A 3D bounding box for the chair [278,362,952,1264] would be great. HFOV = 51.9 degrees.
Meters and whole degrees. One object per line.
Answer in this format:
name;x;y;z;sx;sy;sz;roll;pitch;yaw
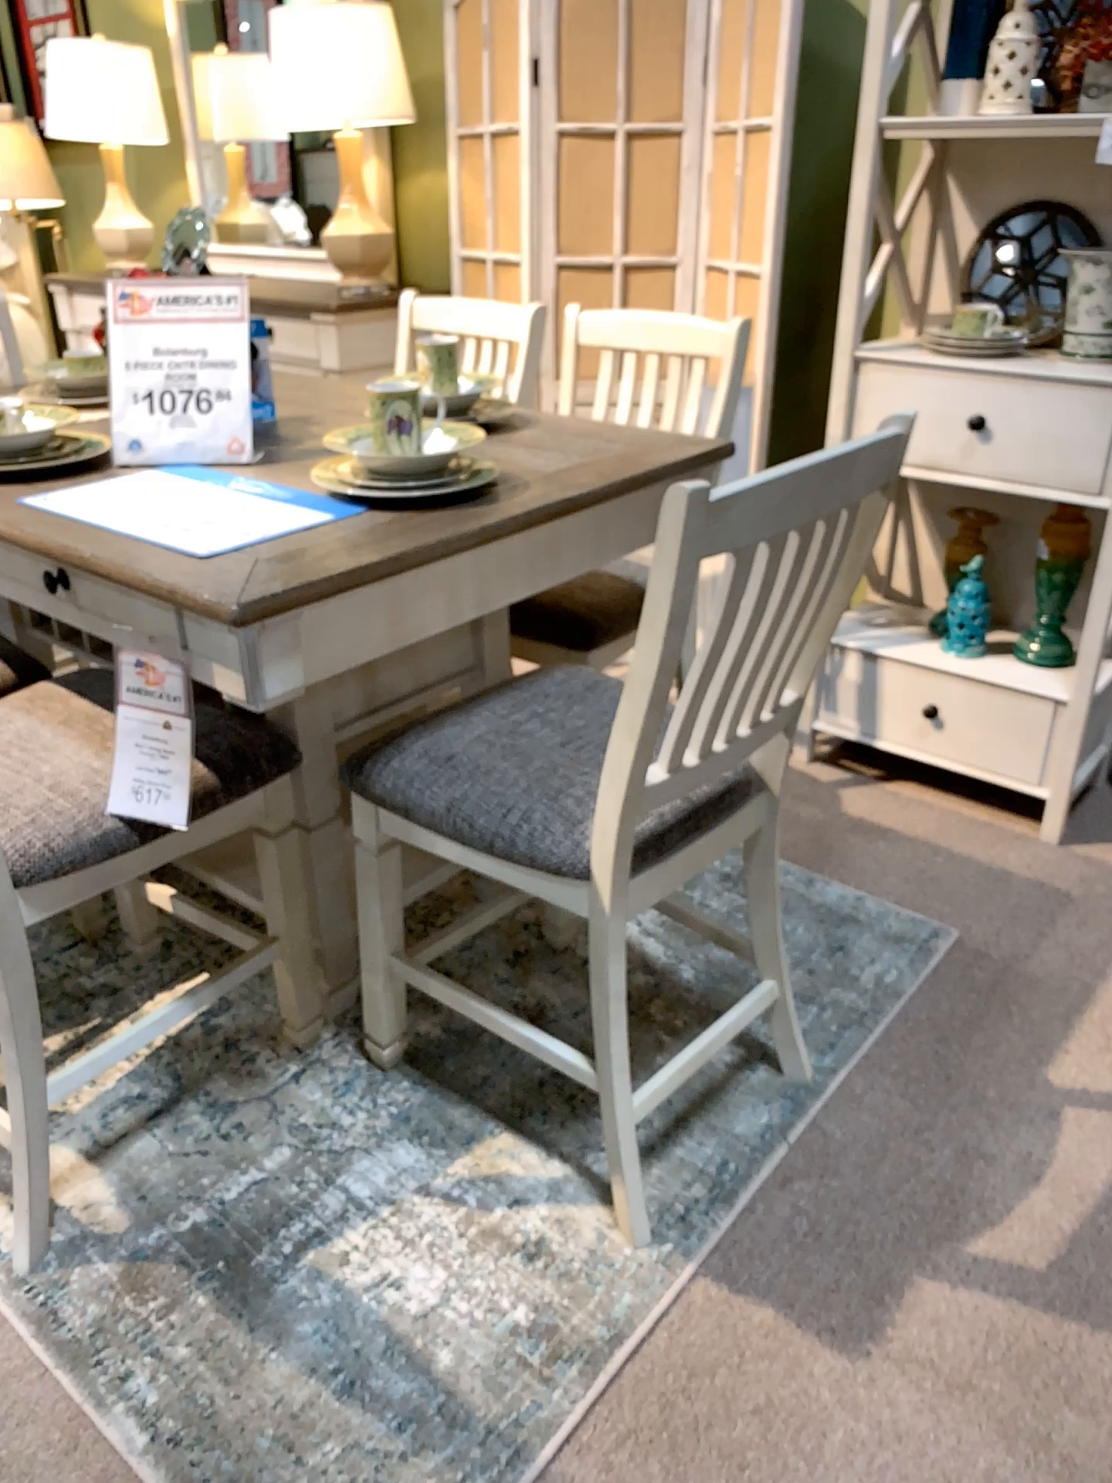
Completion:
chair;0.062;0.039;1.505;0.592;0.925;0.491;22;33;37
